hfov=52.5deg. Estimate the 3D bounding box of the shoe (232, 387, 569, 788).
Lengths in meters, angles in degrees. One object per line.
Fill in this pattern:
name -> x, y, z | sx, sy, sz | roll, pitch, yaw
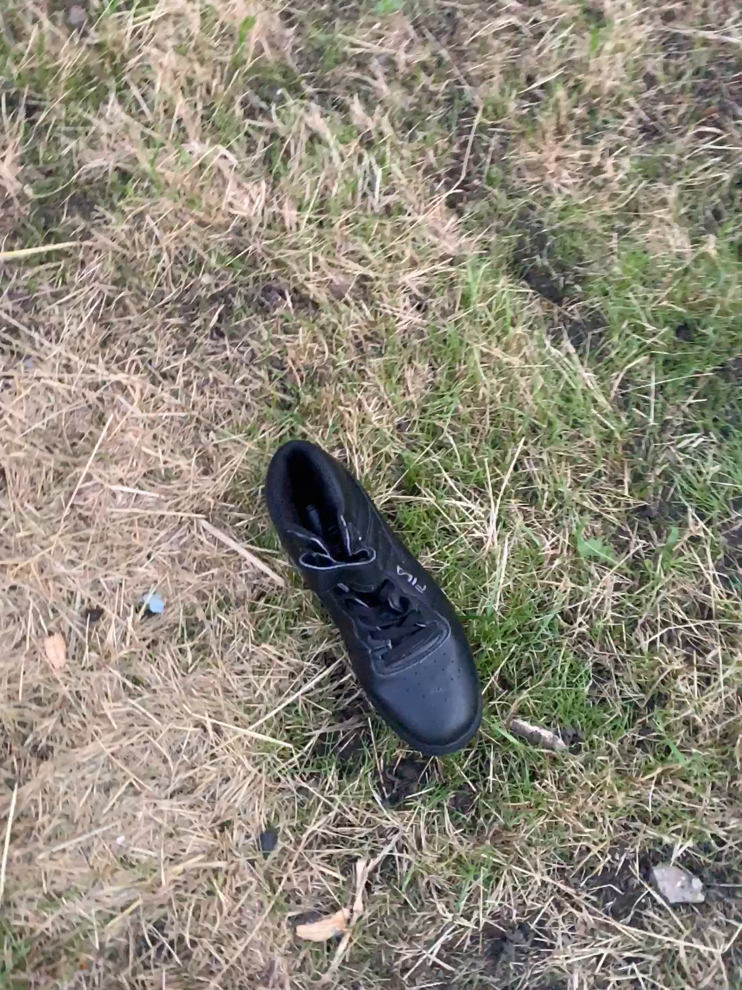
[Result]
shoe -> 0.011, 0.073, 0.571 | 0.100, 0.139, 0.261 | -30, 75, -14
